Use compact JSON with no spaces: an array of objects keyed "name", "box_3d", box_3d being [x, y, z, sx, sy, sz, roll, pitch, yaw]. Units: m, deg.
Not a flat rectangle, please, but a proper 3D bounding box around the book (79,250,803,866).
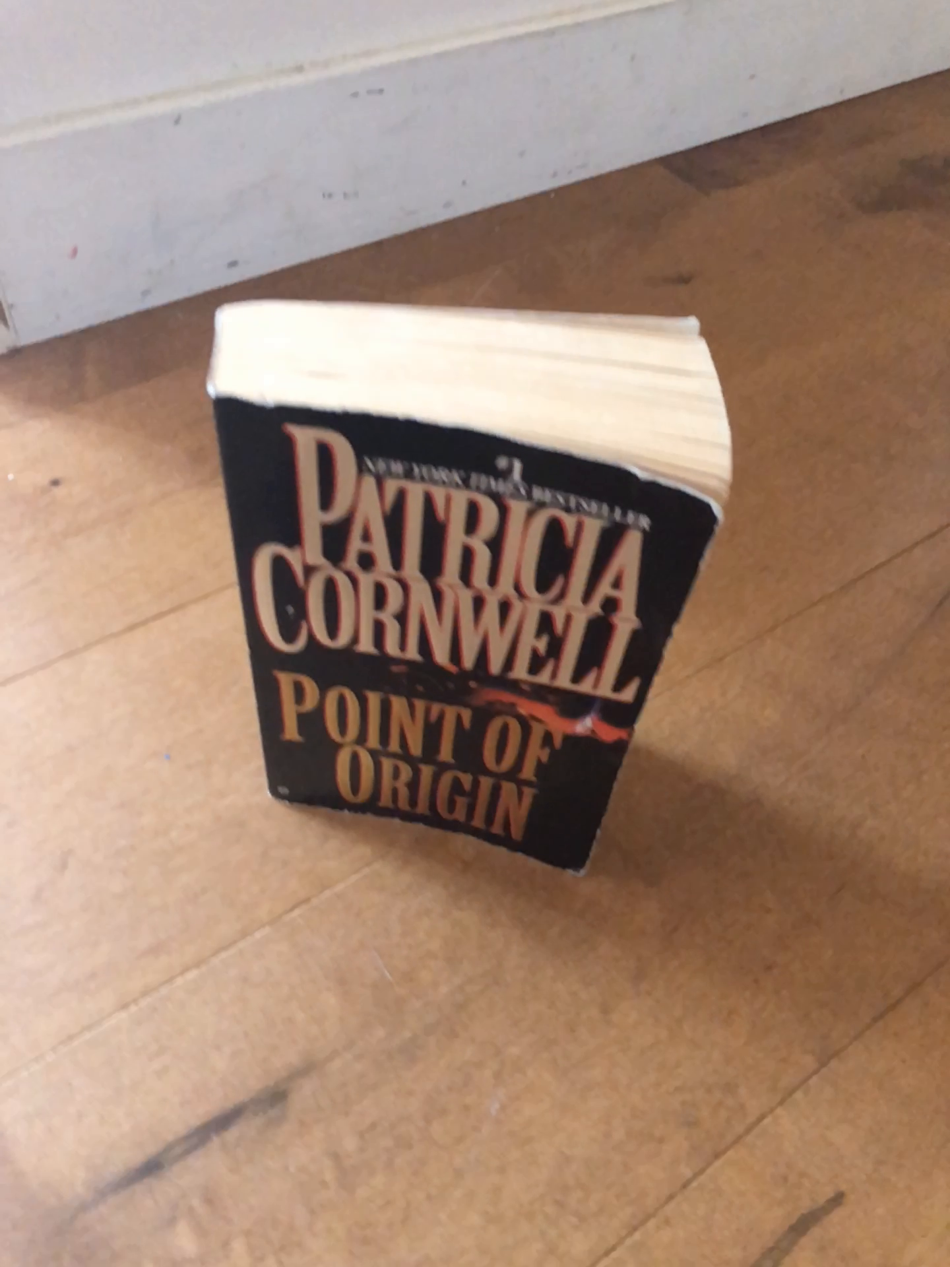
[{"name":"book","box_3d":[-0.009,-0.005,0.266,0.130,0.159,0.050,7,54,0]}]
